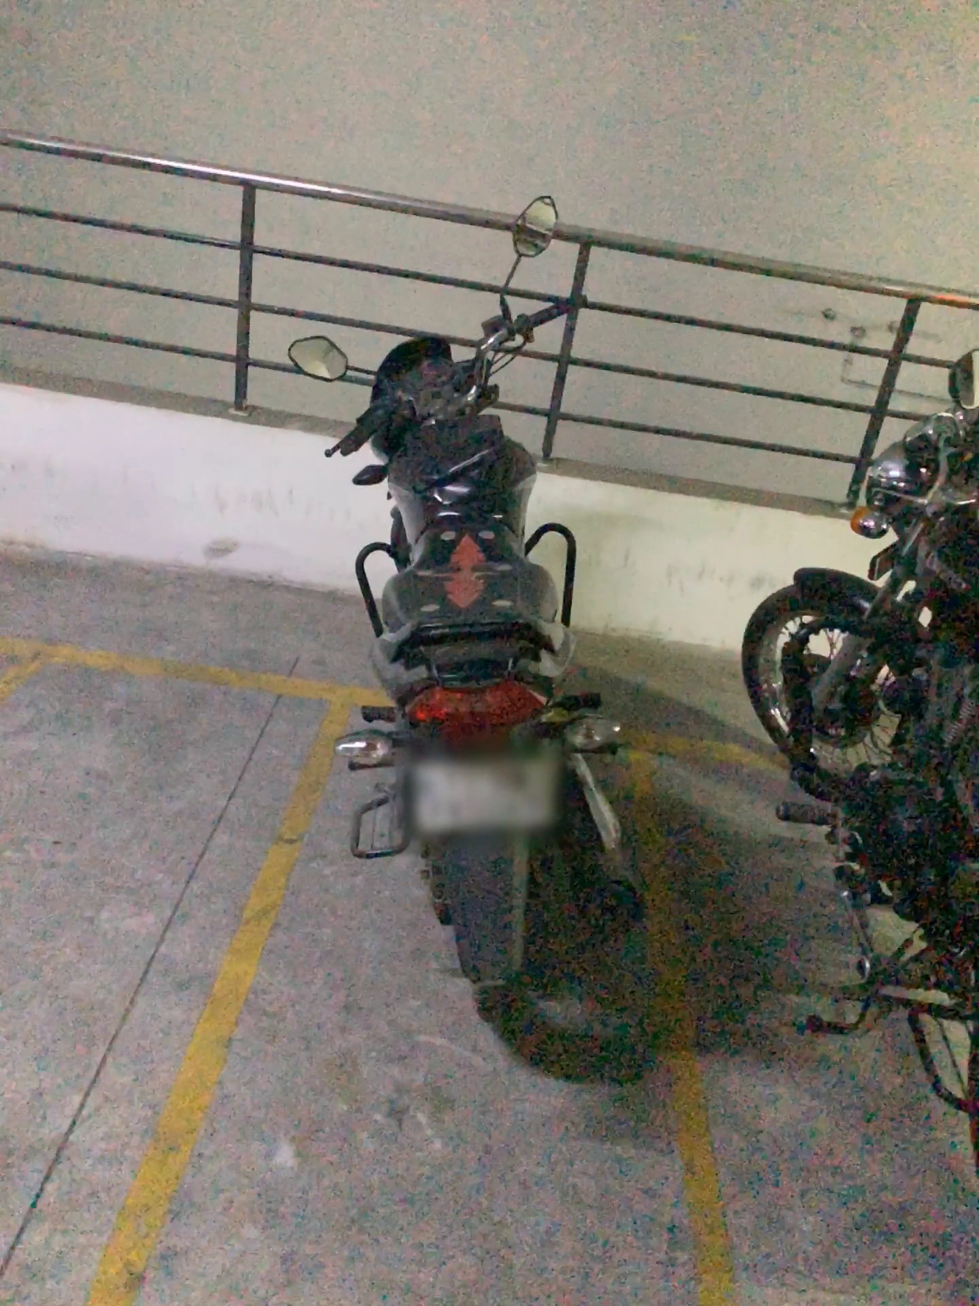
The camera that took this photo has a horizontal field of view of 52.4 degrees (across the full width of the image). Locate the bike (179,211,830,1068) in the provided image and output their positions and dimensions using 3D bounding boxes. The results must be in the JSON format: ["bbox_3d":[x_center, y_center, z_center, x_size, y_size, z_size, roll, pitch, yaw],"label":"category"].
[{"bbox_3d":[-0.194,-0.218,2.122,0.755,1.067,1.685,3,27,-13],"label":"bike"}]
